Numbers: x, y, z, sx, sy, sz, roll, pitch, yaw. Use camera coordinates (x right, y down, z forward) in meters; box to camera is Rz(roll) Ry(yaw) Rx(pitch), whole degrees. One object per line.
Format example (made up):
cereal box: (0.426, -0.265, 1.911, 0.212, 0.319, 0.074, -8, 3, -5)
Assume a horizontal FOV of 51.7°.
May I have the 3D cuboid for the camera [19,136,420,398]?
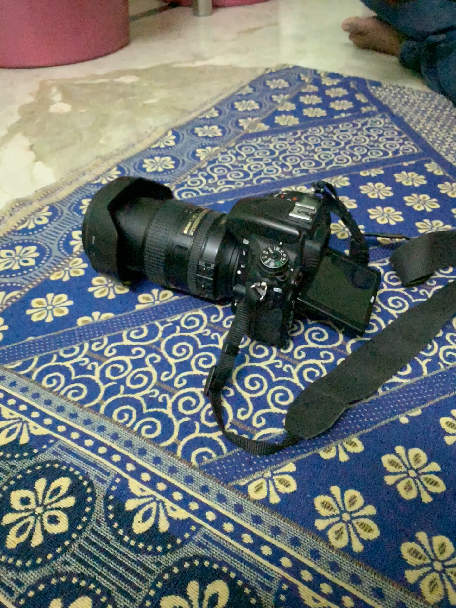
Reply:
camera: (-0.005, -0.055, 0.457, 0.320, 0.110, 0.160, 16, 45, 19)
